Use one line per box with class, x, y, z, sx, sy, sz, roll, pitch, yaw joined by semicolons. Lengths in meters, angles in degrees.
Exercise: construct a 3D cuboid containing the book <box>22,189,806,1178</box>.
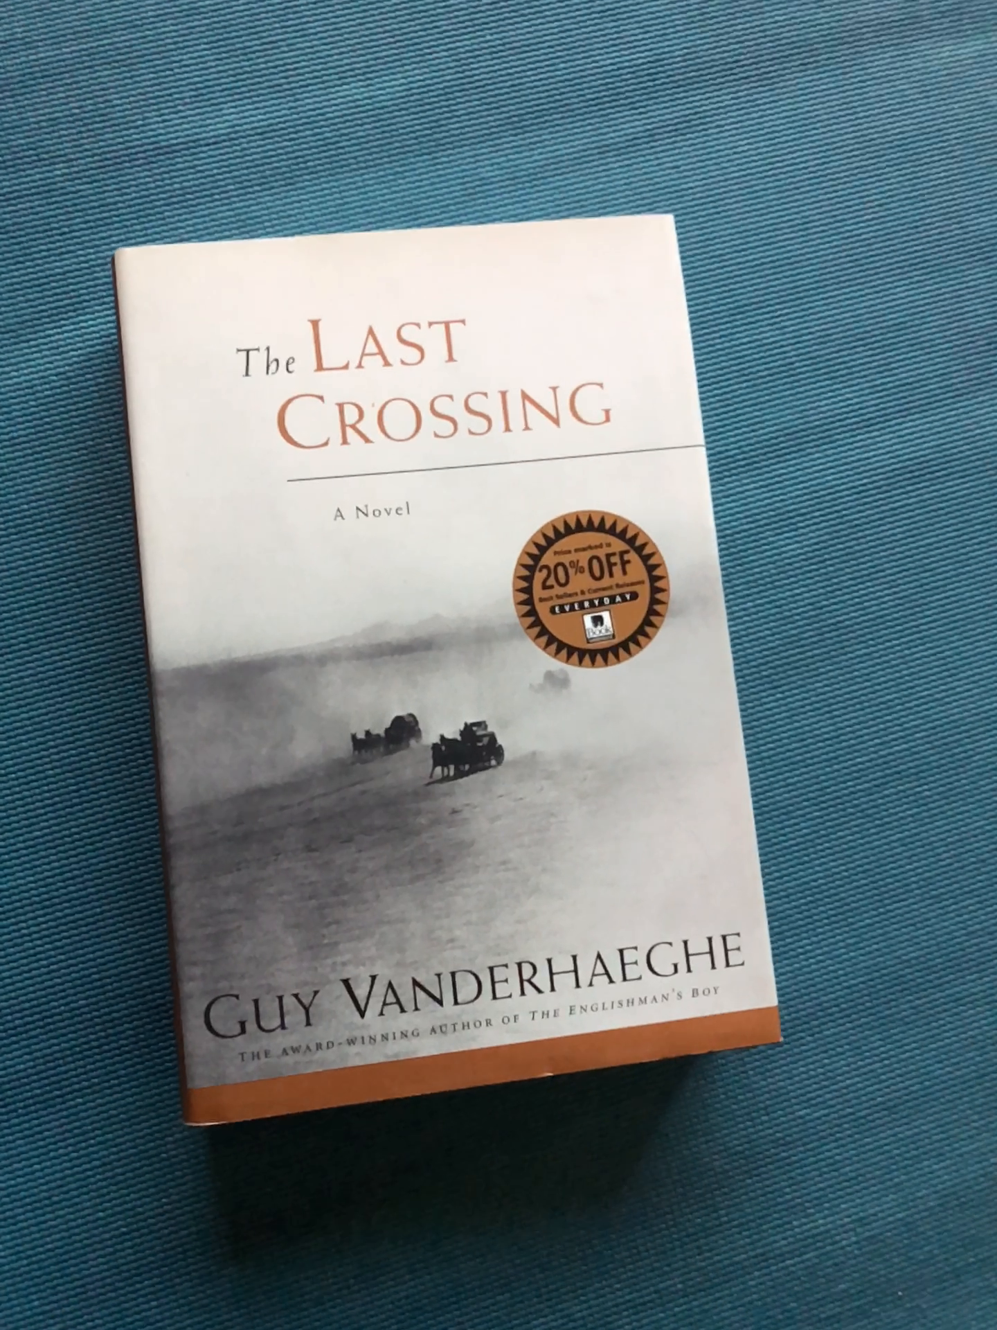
book;-0.024;-0.003;0.295;0.170;0.040;0.230;-6;84;-7
